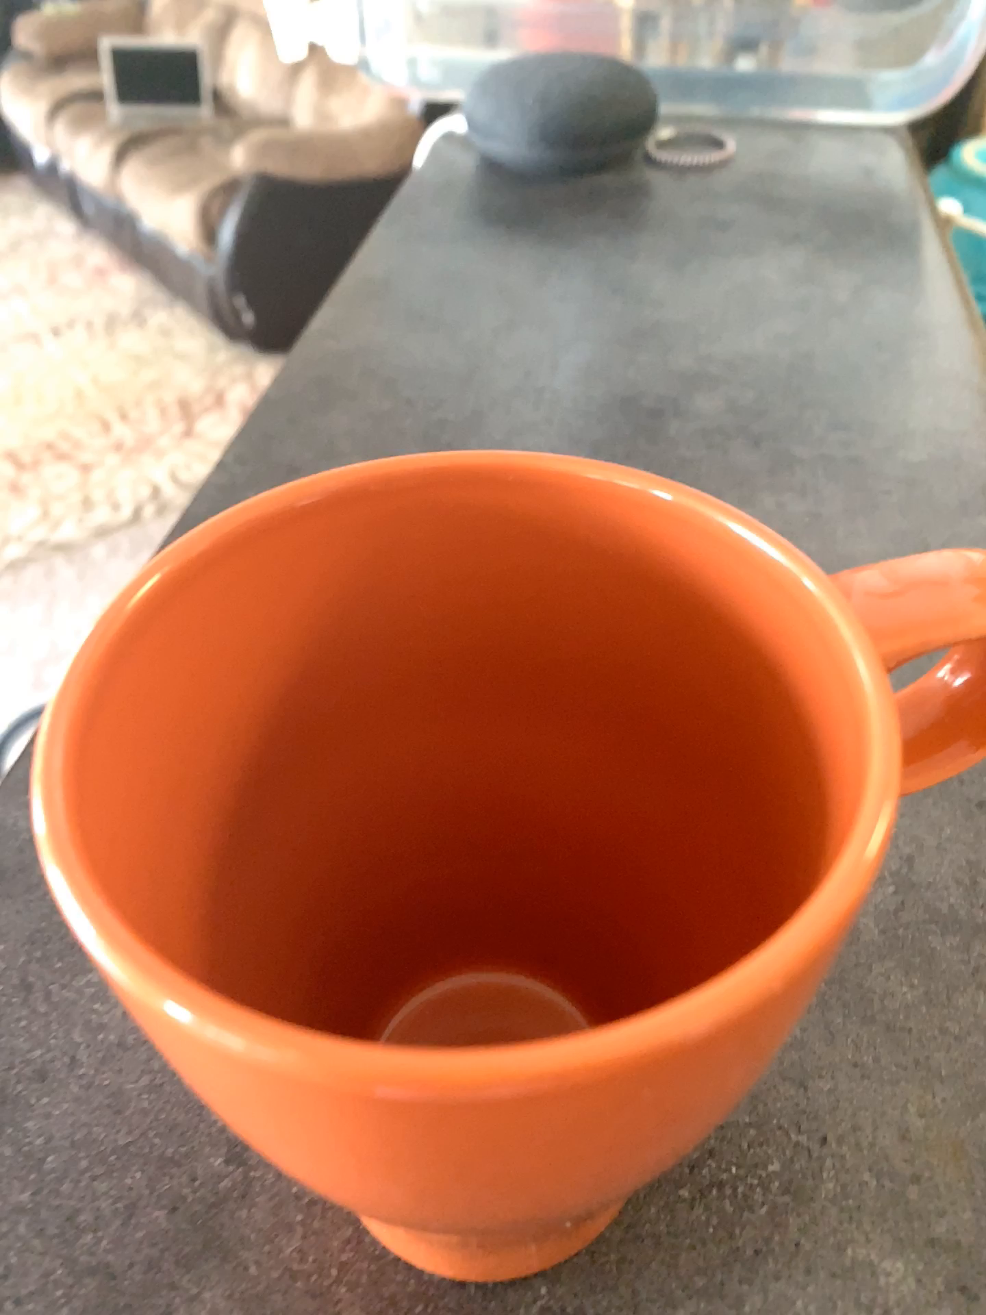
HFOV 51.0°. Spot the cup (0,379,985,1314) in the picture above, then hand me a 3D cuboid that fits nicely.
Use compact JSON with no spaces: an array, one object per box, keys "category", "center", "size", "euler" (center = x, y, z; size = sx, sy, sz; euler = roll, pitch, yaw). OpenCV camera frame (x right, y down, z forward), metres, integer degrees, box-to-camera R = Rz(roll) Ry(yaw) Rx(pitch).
[{"category":"cup","center":[0.018,0.032,0.129],"size":[0.120,0.090,0.080],"euler":[-8,42,-6]}]
